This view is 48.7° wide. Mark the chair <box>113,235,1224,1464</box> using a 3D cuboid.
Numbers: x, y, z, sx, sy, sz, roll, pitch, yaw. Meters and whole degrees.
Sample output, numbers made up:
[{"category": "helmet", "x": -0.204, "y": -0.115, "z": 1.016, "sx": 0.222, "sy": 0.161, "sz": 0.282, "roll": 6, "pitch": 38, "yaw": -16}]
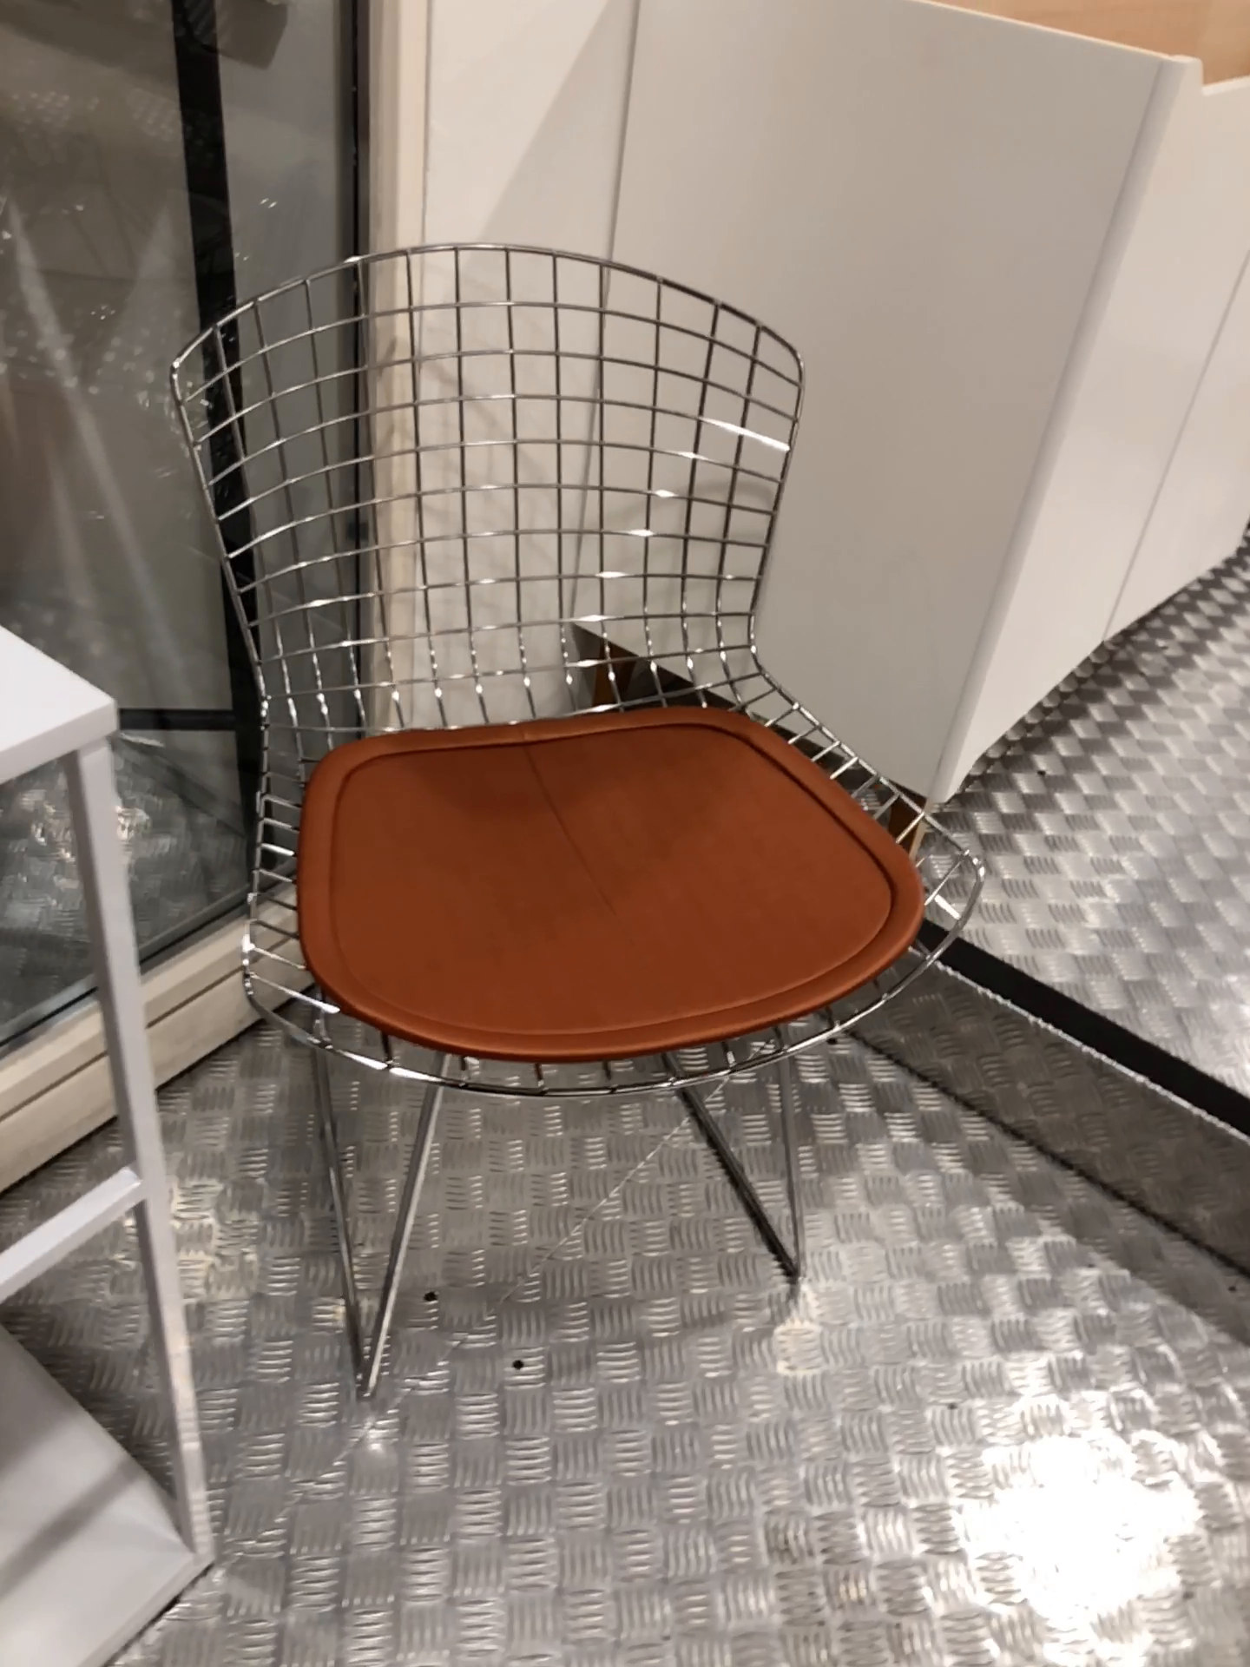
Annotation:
[{"category": "chair", "x": -0.054, "y": -0.024, "z": 1.108, "sx": 0.551, "sy": 0.704, "sz": 0.574, "roll": -8, "pitch": 40, "yaw": -20}]
